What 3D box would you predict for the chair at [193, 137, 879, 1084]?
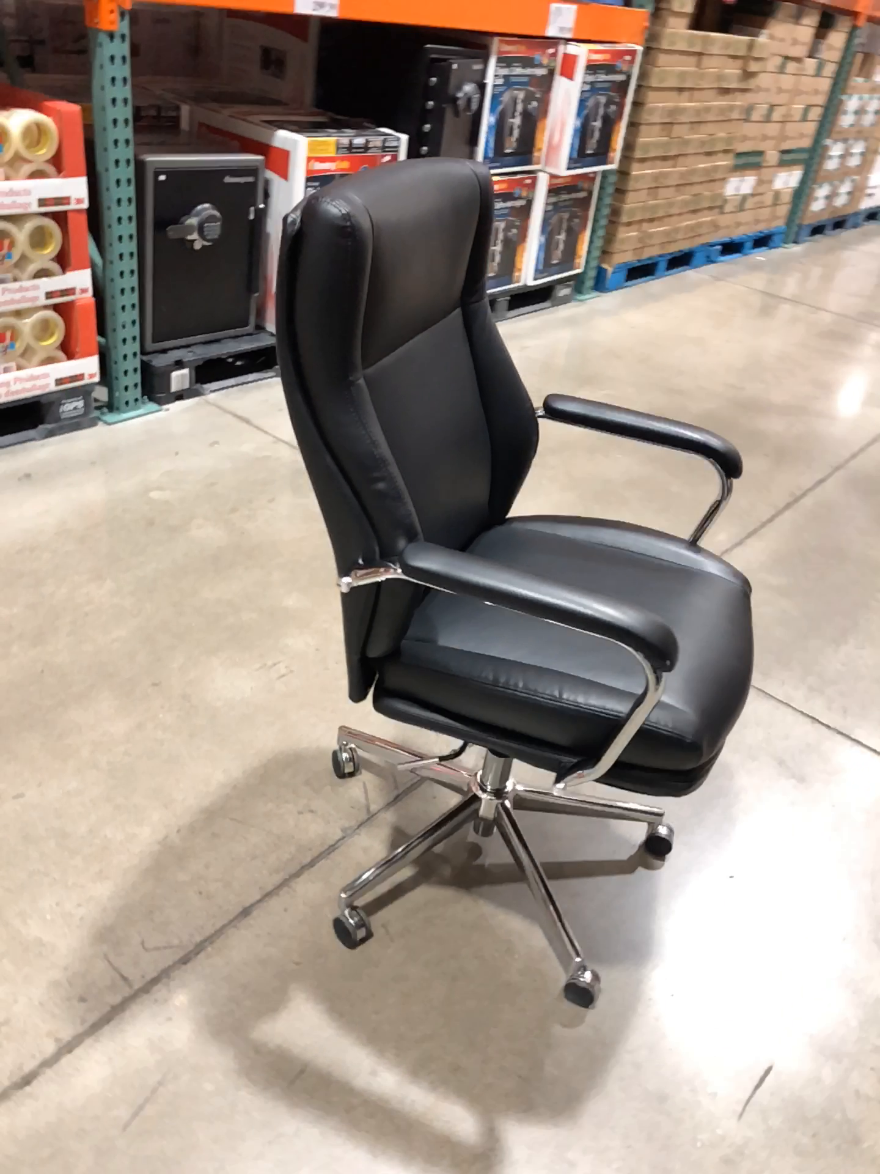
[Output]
[{"bbox_3d":[0.137,-0.019,1.450,0.700,1.046,0.712,19,33,16],"label":"chair"}]
